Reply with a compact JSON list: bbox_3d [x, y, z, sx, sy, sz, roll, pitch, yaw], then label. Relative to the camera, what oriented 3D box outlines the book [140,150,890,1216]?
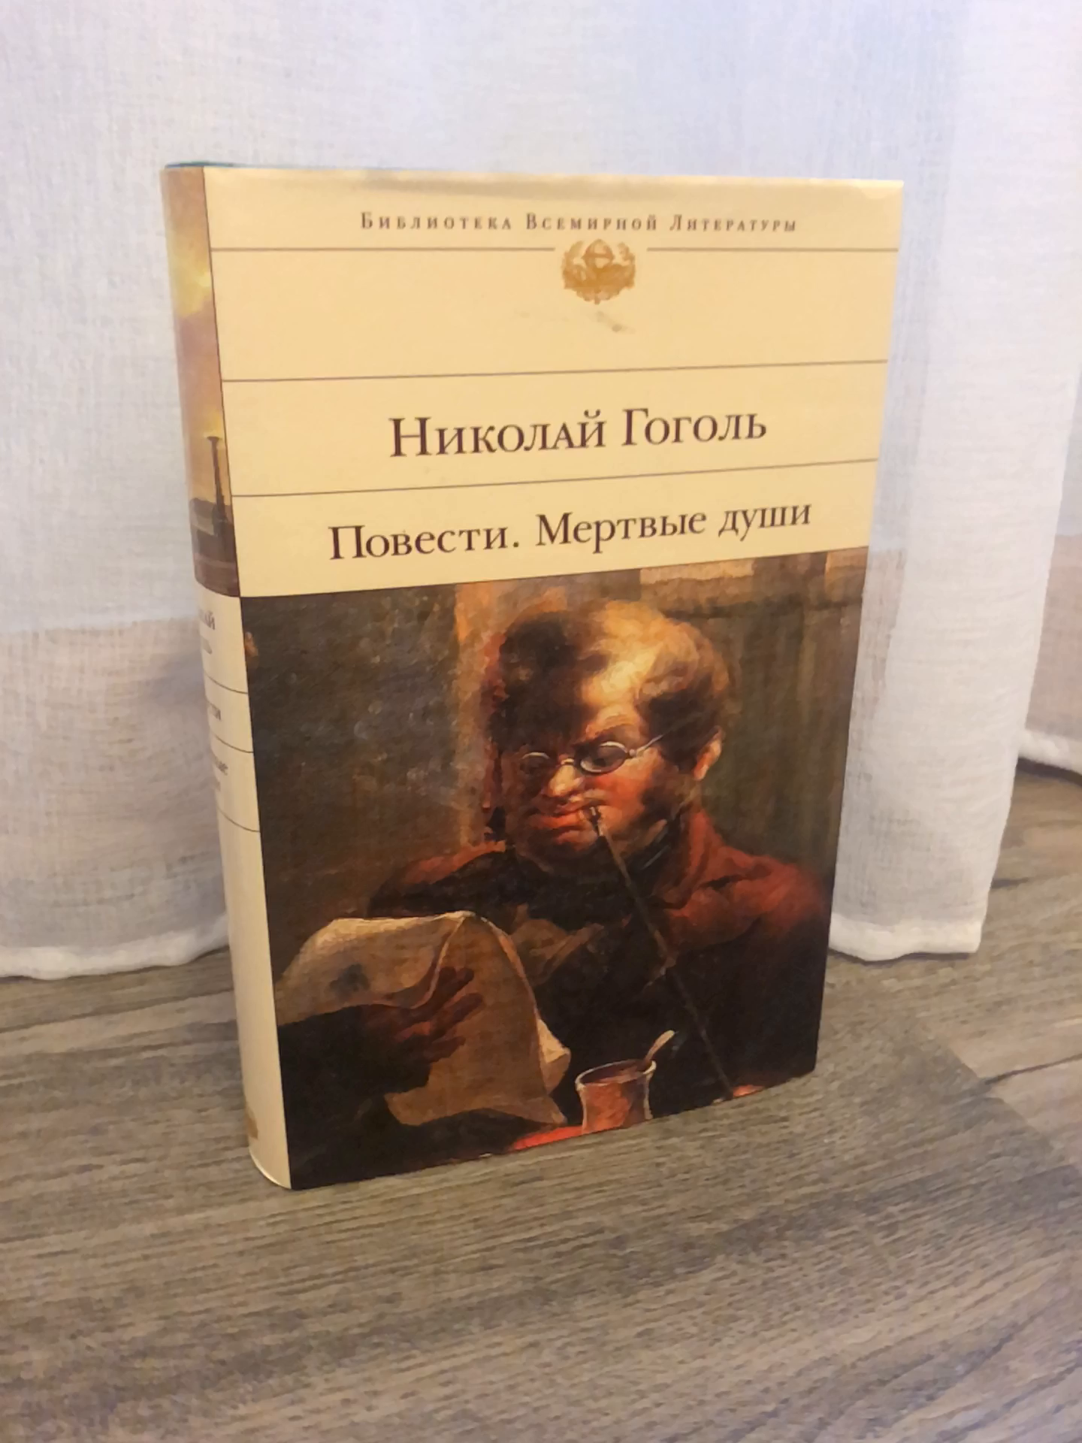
[{"bbox_3d":[-0.005,-0.006,0.263,0.134,0.209,0.041,-7,22,-18],"label":"book"}]
